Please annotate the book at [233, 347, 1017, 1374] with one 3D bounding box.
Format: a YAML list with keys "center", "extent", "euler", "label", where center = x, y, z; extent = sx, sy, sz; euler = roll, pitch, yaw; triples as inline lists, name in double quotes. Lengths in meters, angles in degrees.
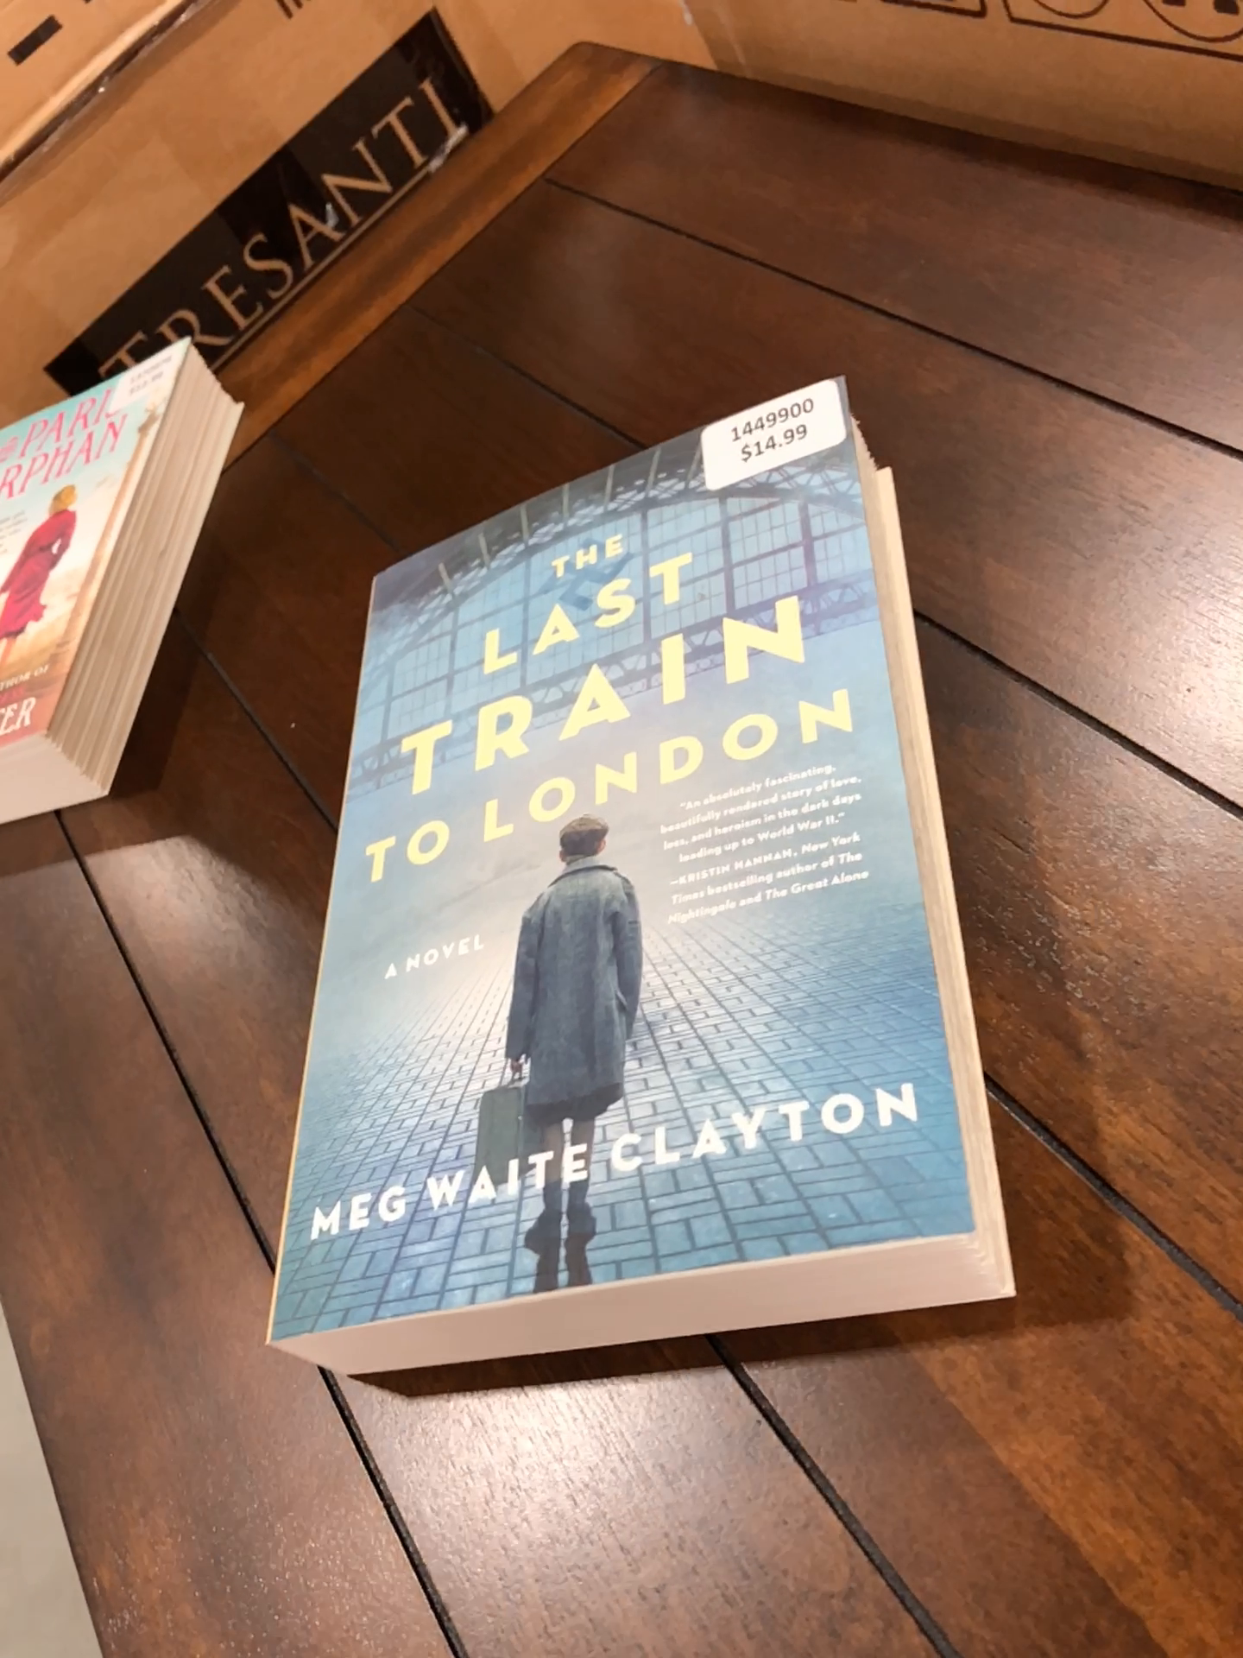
- center: [-0.003, 0.002, 0.329]
  extent: [0.151, 0.041, 0.220]
  euler: [-17, 53, 24]
  label: "book"
